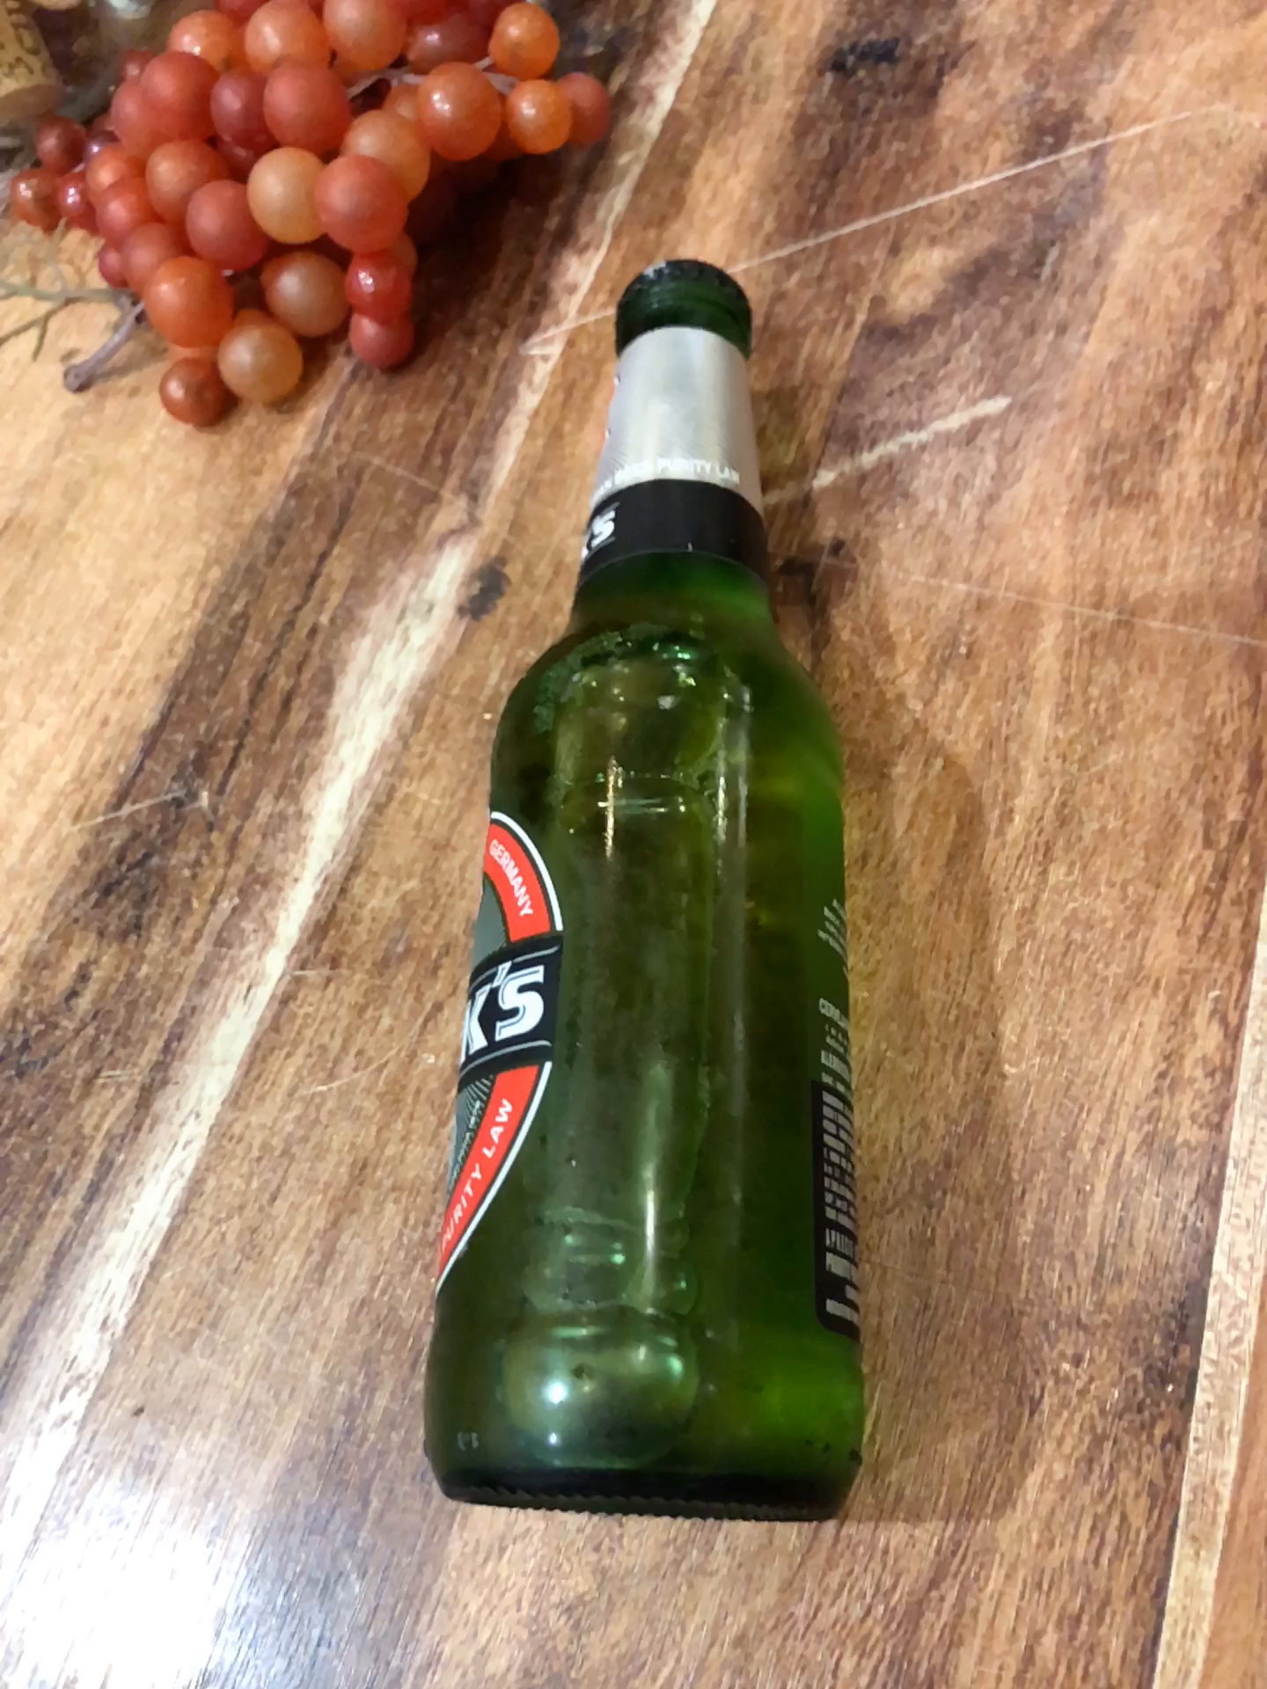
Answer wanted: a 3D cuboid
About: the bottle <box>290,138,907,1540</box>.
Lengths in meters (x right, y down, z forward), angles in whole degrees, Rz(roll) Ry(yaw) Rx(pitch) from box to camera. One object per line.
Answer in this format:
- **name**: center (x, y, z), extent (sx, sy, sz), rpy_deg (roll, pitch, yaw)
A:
- **bottle**: center (0.004, -0.013, 0.240), extent (0.070, 0.060, 0.231), rpy_deg (-3, 61, 11)
